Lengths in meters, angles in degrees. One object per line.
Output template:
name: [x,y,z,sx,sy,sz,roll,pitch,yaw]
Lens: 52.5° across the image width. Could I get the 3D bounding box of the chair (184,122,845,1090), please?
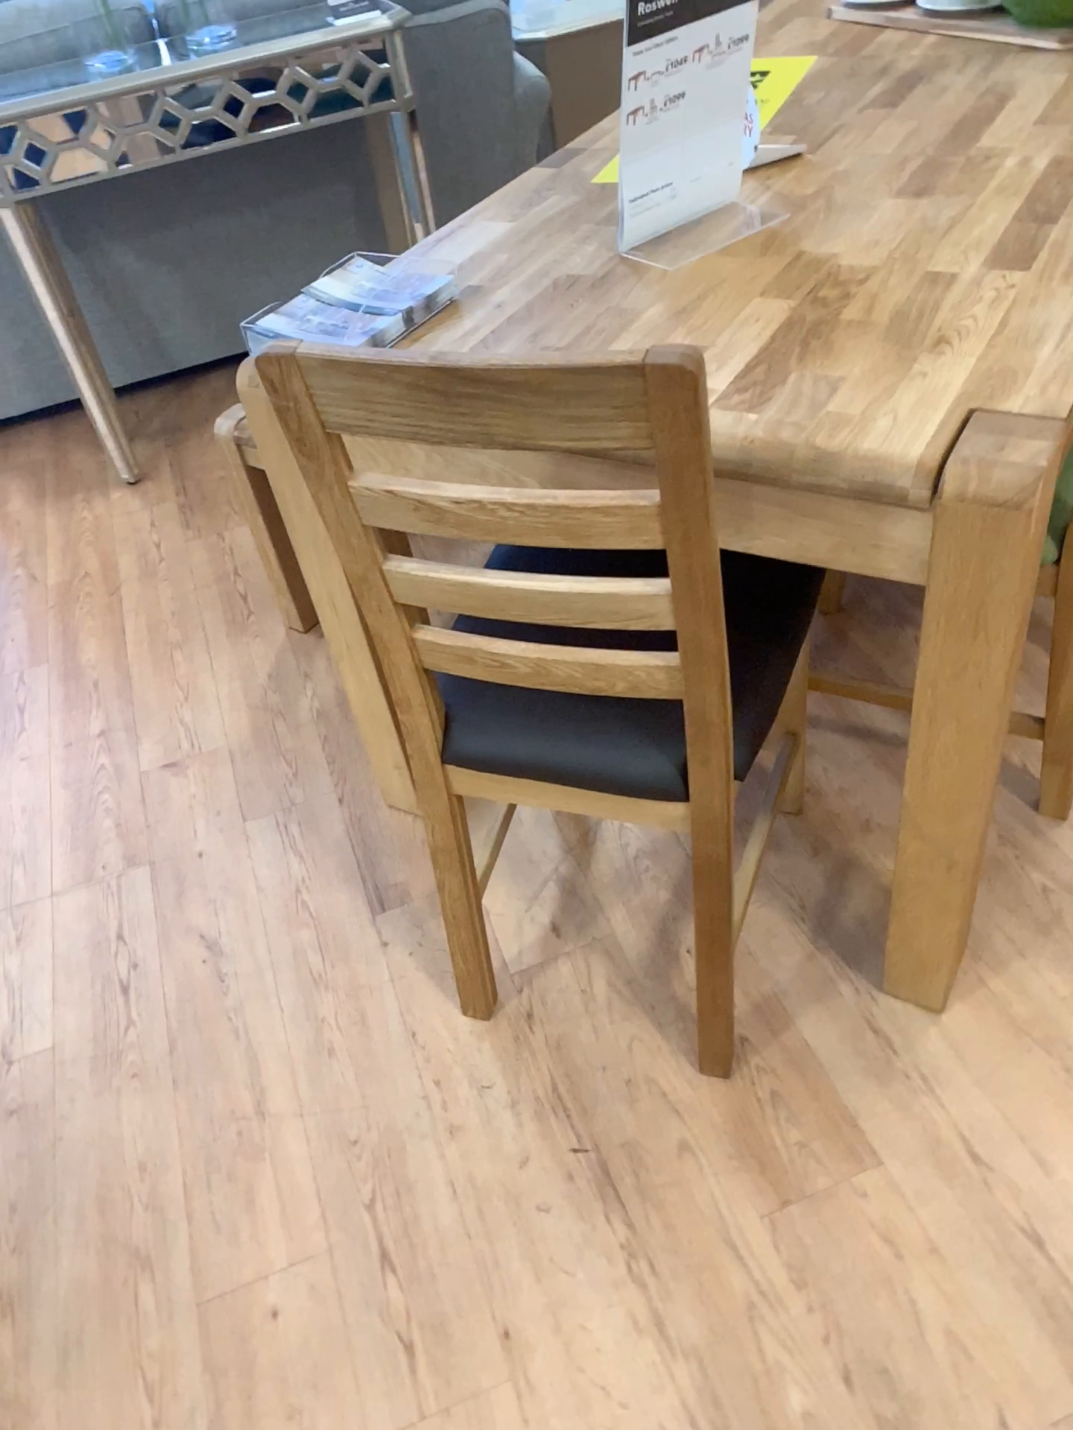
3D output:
chair: [0.073,-0.090,1.250,0.421,0.917,0.521,9,45,20]
